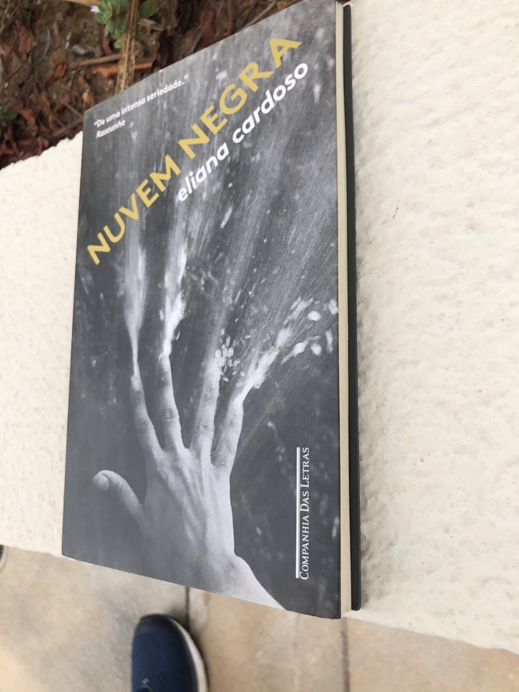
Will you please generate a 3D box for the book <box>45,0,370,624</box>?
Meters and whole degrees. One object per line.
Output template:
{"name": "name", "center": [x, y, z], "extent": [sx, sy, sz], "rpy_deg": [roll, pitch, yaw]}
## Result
{"name": "book", "center": [-0.028, -0.016, 0.222], "extent": [0.140, 0.013, 0.200], "rpy_deg": [-4, 81, 34]}
